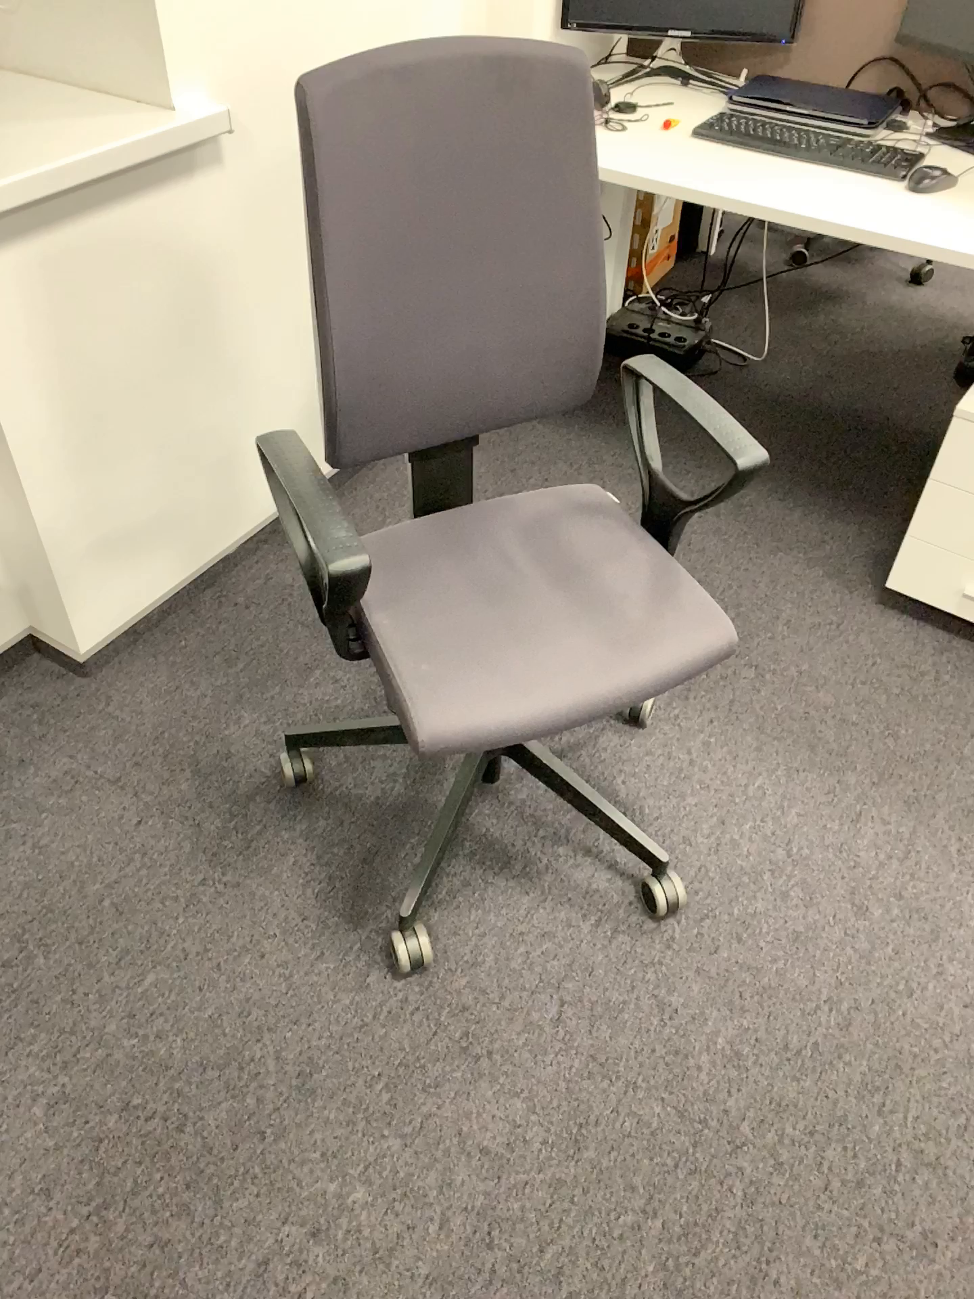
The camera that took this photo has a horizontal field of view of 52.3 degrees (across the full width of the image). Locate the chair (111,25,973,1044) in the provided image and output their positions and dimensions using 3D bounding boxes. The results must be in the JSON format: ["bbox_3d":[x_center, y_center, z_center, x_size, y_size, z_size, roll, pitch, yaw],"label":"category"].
[{"bbox_3d":[0.020,-0.165,1.388,0.701,1.045,0.753,-17,46,-20],"label":"chair"}]
